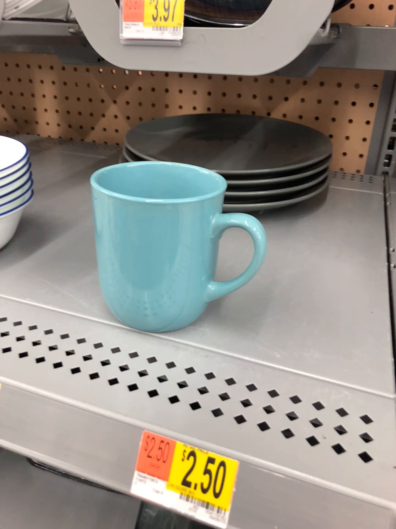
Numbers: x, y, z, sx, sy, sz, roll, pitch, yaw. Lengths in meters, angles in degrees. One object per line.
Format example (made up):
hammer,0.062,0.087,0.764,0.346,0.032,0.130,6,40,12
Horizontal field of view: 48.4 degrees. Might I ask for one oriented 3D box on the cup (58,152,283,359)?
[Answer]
cup,-0.012,-0.014,0.295,0.114,0.091,0.091,10,29,15
